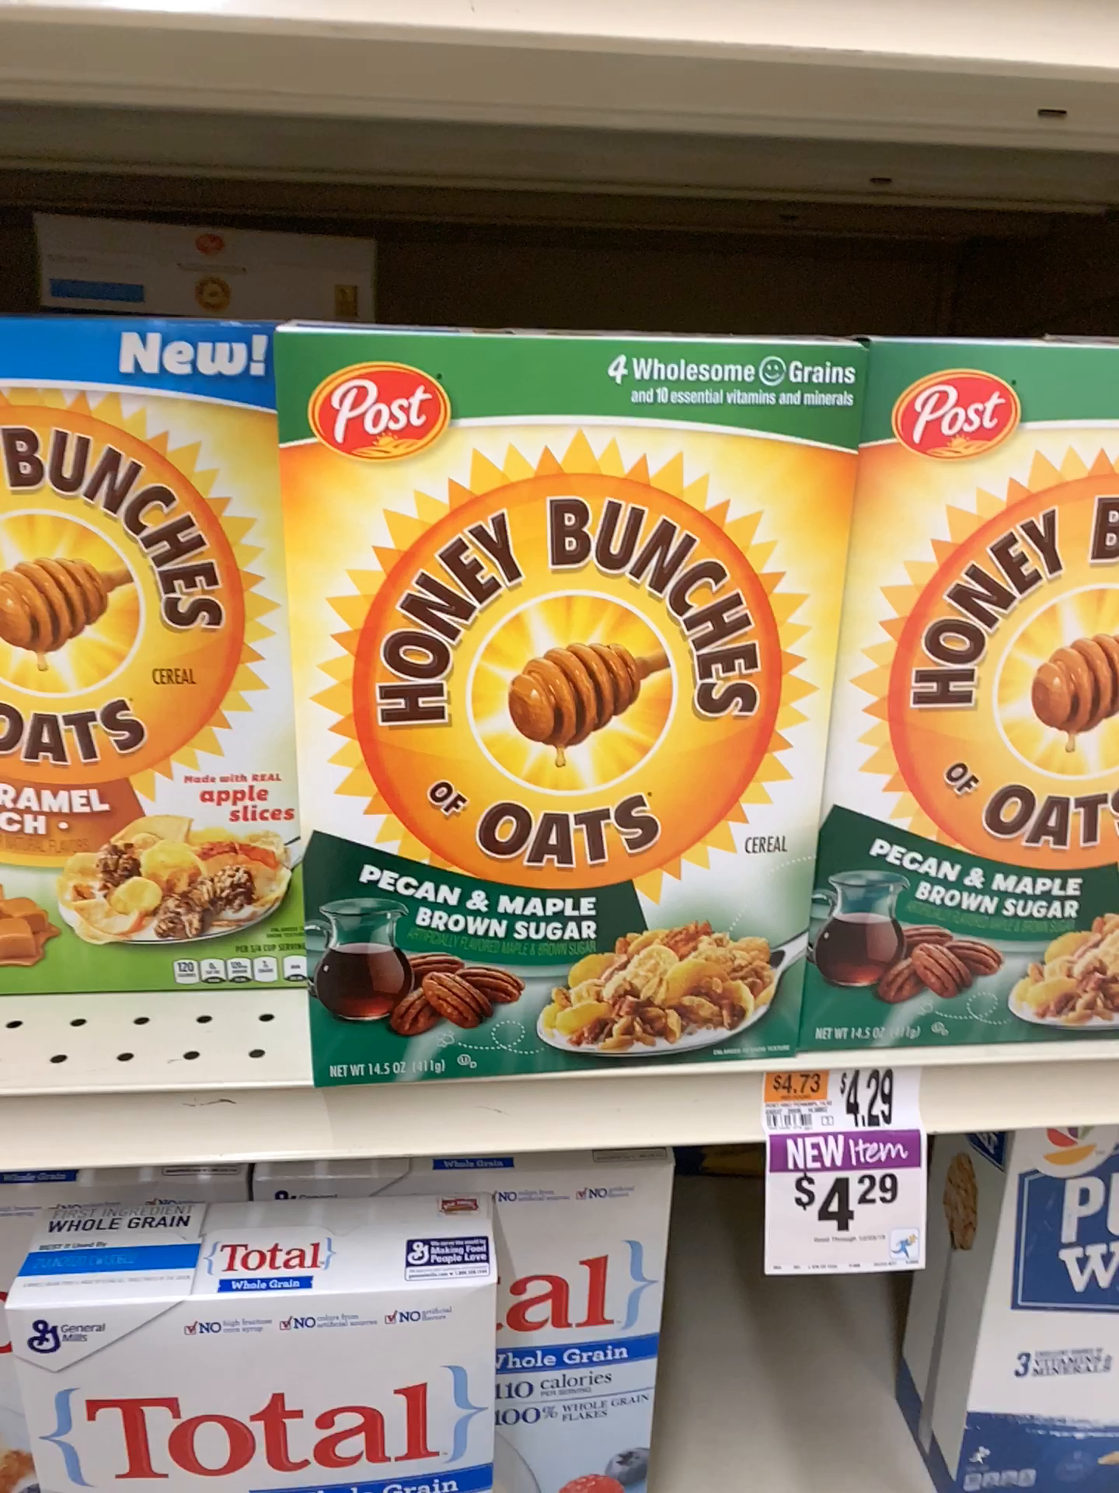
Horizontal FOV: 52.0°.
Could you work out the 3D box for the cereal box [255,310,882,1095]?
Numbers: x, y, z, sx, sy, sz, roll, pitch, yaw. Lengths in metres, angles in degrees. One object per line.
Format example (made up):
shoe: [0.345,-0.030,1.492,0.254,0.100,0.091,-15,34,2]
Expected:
cereal box: [-0.002,-0.012,0.434,0.200,0.279,0.060,-2,19,-9]
